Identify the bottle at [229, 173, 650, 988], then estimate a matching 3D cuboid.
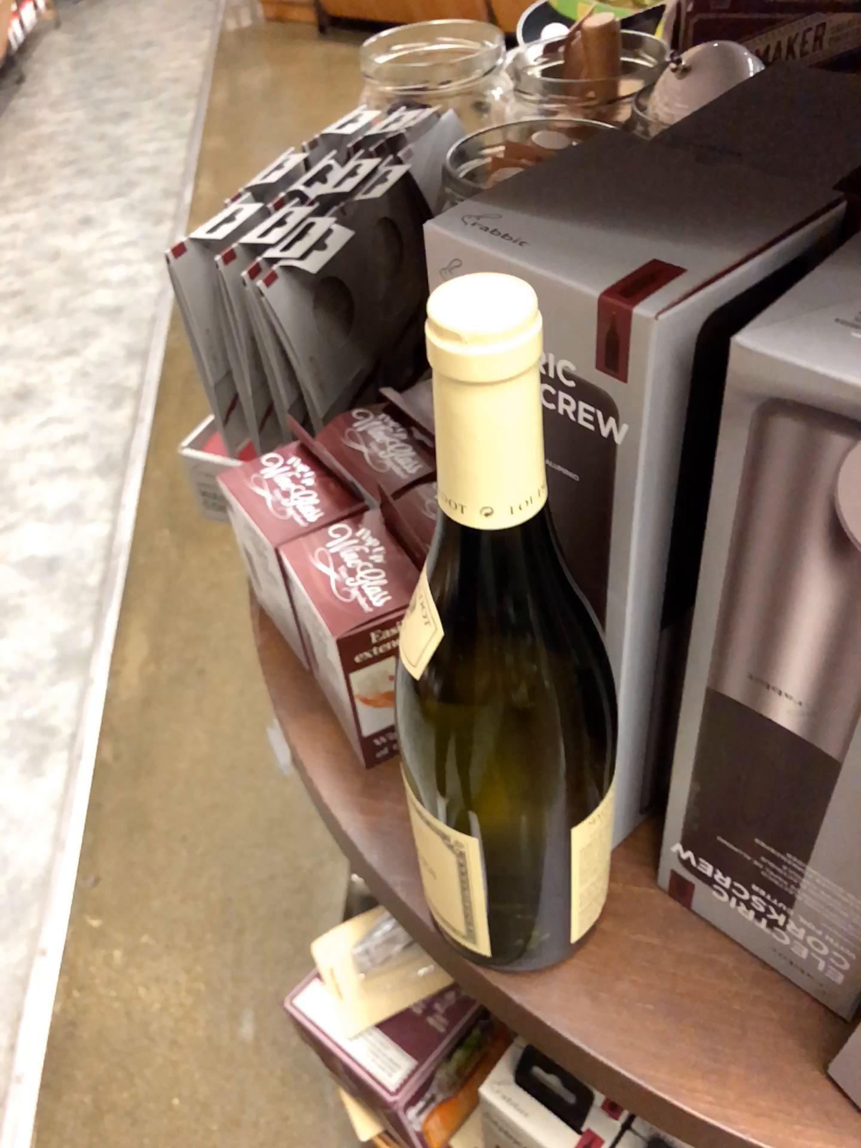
[{"bbox_3d":[0.023,0.031,0.335,0.090,0.299,0.090,-5,43,4],"label":"bottle"}]
